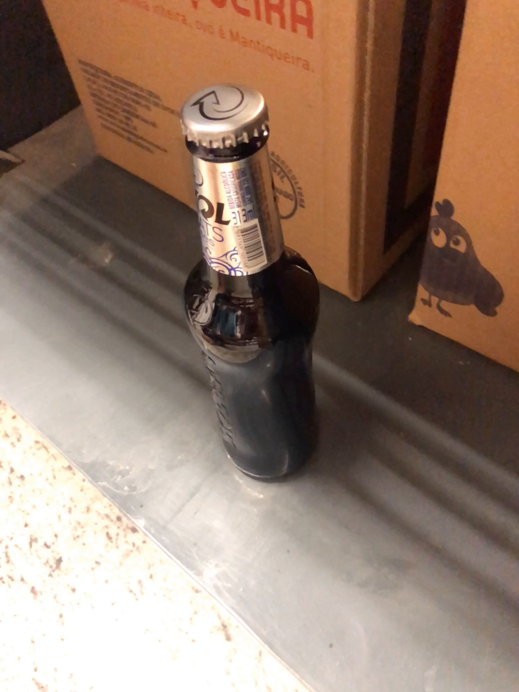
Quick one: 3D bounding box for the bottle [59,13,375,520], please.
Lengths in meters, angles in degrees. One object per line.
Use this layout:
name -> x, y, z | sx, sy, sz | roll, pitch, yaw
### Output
bottle -> -0.001, -0.010, 0.274 | 0.070, 0.238, 0.070 | -4, 53, 5
